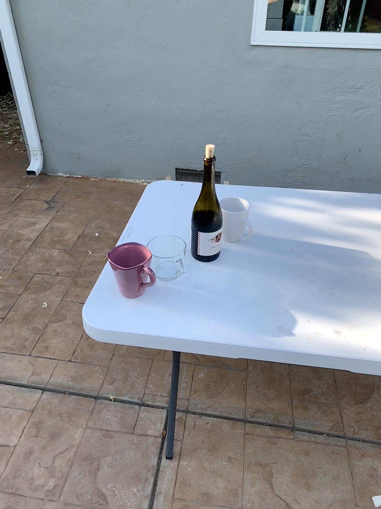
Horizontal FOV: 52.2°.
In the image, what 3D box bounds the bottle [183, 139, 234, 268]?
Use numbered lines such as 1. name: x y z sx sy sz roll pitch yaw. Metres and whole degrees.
1. bottle: 0.042 -0.124 0.997 0.090 0.308 0.080 21 40 26
